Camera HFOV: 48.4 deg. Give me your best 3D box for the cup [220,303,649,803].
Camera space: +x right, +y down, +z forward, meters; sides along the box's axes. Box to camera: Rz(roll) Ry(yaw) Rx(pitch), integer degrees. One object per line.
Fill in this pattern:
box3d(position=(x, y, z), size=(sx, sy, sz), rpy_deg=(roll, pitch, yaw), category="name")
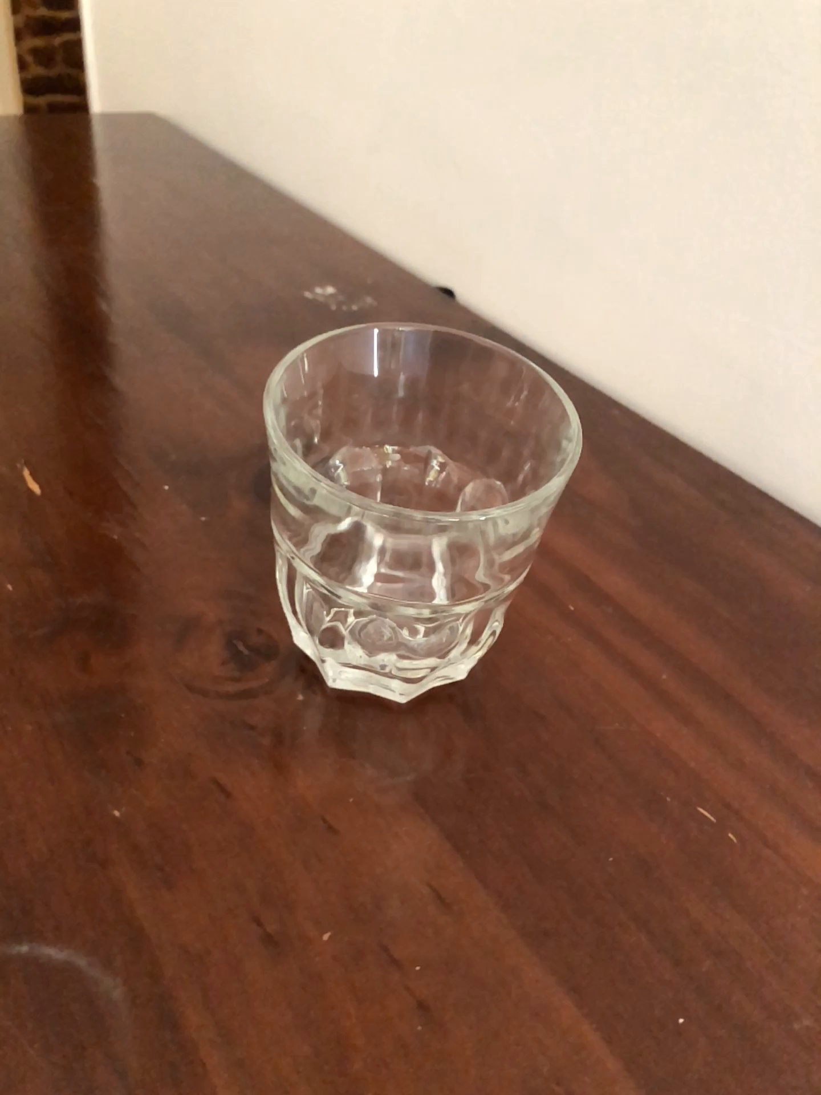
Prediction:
box3d(position=(-0.001, -0.001, 0.258), size=(0.090, 0.095, 0.101), rpy_deg=(3, 36, -5), category="cup")
